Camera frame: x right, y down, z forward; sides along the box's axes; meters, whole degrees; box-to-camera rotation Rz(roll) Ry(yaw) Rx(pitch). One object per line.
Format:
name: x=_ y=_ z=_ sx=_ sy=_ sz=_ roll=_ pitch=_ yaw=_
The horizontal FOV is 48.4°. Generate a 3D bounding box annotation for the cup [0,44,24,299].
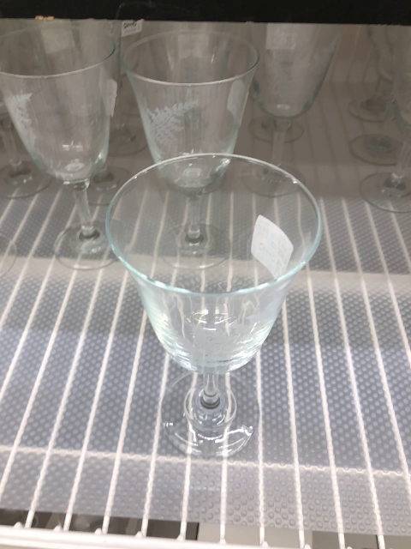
cup: x=-0.184 y=-0.064 z=0.312 sx=0.069 sy=0.146 sz=0.067 roll=0 pitch=46 yaw=0

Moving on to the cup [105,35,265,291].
cup: x=-0.008 y=-0.077 z=0.339 sx=0.087 sy=0.155 sz=0.089 roll=0 pitch=46 yaw=0

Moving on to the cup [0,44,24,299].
cup: x=-0.184 y=-0.064 z=0.312 sx=0.069 sy=0.146 sz=0.067 roll=0 pitch=46 yaw=0

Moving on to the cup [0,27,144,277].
cup: x=-0.091 y=-0.083 z=0.330 sx=0.079 sy=0.146 sz=0.087 roll=0 pitch=46 yaw=0

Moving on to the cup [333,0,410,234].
cup: x=0.150 y=-0.112 z=0.325 sx=0.069 sy=0.126 sz=0.086 roll=21 pitch=49 yaw=20

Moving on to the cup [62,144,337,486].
cup: x=0.002 y=0.029 z=0.233 sx=0.089 sy=0.156 sz=0.087 roll=0 pitch=46 yaw=0

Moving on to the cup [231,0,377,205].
cup: x=0.072 y=-0.142 z=0.377 sx=0.089 sy=0.136 sz=0.087 roll=0 pitch=46 yaw=0
